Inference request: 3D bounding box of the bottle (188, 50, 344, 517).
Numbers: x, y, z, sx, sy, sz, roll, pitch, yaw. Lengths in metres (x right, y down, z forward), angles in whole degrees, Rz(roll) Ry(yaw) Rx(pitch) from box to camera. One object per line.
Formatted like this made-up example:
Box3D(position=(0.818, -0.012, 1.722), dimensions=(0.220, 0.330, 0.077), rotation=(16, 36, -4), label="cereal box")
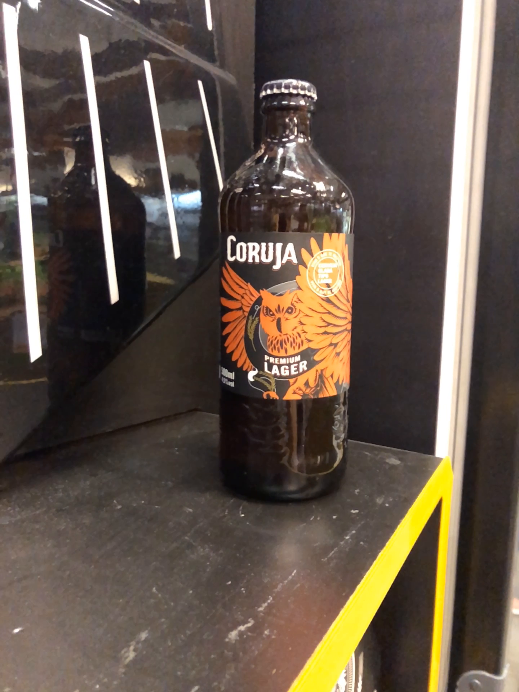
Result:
Box3D(position=(0.004, -0.030, 0.310), dimensions=(0.070, 0.219, 0.070), rotation=(0, 9, 0), label="bottle")
